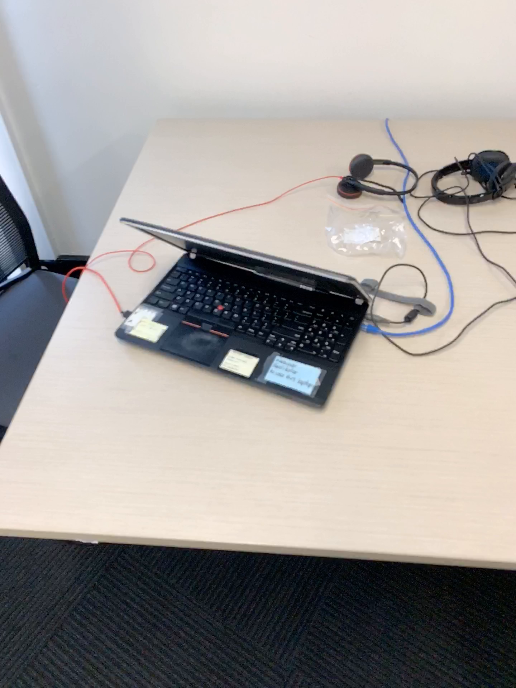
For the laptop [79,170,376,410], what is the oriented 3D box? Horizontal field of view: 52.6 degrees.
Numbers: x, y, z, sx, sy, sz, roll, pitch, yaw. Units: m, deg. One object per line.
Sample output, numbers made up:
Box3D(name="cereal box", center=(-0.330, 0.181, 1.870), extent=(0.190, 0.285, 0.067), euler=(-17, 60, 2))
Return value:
Box3D(name="laptop", center=(-0.030, -0.092, 0.722), extent=(0.326, 0.157, 0.227), euler=(17, 47, 19))
